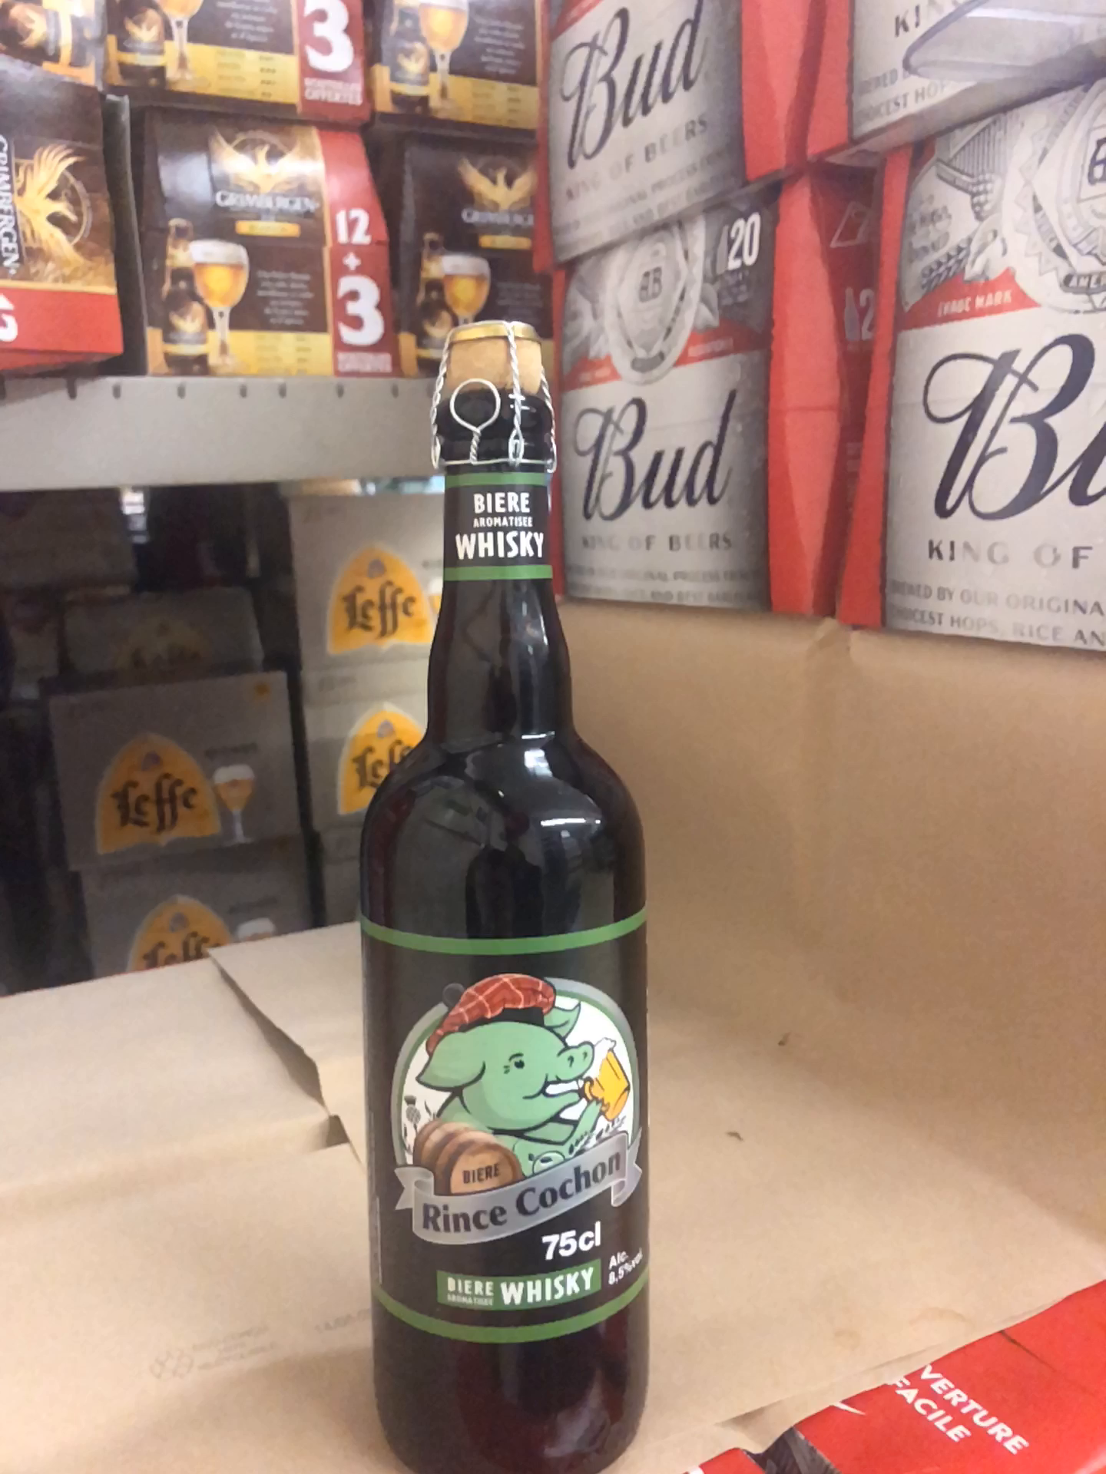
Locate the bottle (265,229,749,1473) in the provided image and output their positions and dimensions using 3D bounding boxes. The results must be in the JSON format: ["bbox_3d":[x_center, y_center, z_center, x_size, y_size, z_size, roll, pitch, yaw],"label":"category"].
[{"bbox_3d":[-0.014,0.037,0.317,0.090,0.300,0.080,-5,5,-17],"label":"bottle"}]
